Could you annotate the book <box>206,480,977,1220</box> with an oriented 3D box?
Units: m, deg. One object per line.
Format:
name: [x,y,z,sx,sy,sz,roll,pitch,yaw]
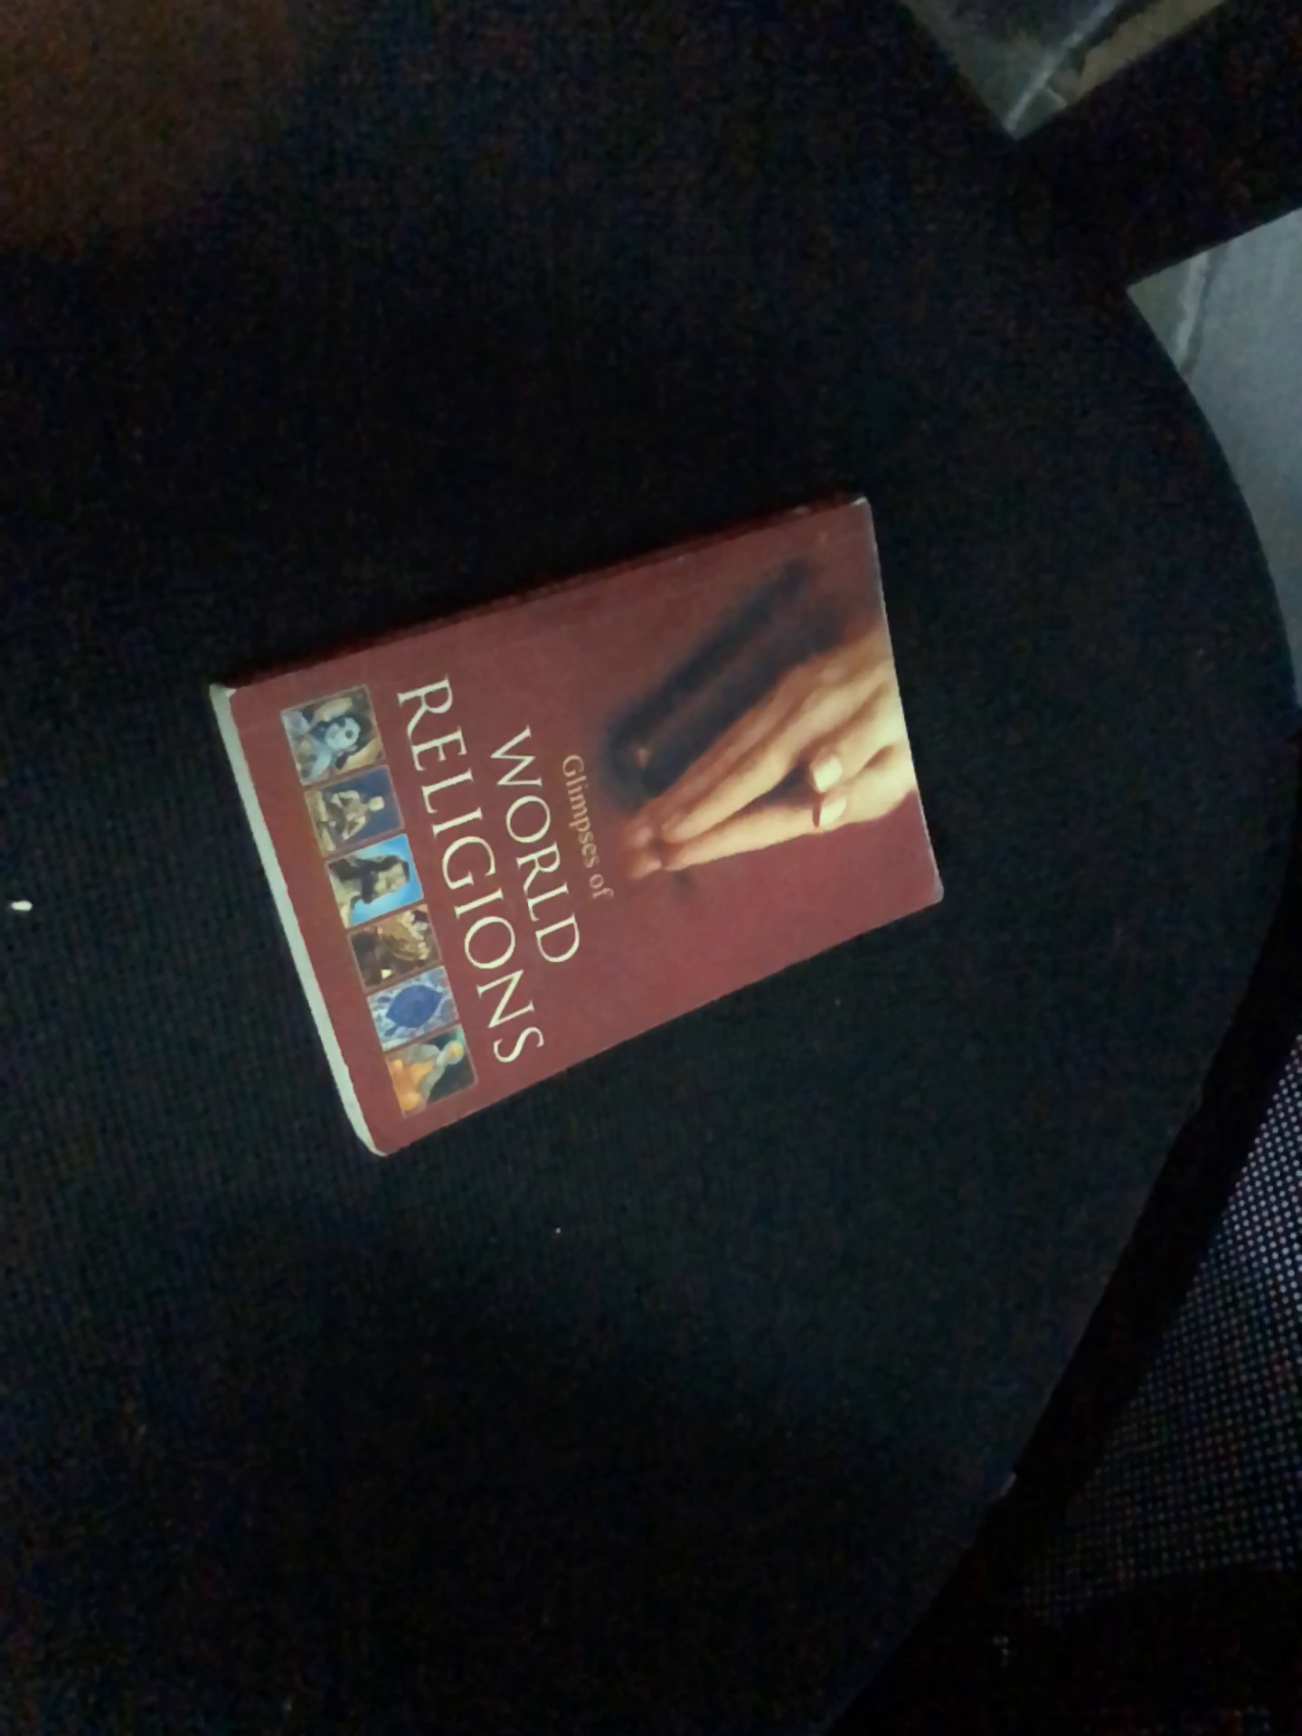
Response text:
book: [0.000,-0.012,0.390,0.201,0.020,0.140,-23,114,-26]
